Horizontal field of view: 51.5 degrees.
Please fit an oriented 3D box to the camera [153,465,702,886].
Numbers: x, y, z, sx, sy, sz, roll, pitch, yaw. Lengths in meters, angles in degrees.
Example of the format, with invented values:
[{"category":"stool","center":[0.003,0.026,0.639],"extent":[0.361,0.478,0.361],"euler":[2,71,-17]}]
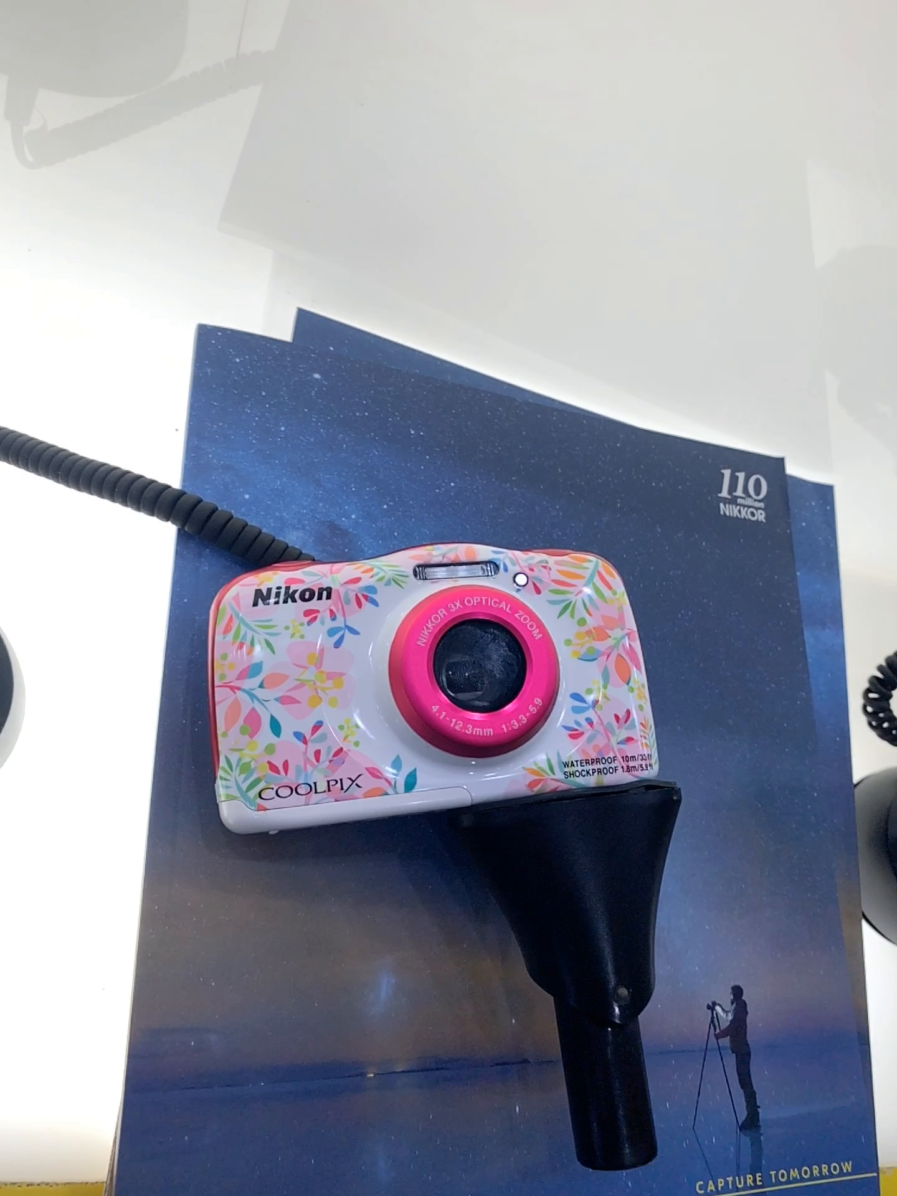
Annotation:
[{"category":"camera","center":[-0.007,0.015,0.221],"extent":[0.110,0.040,0.080],"euler":[-2,66,-25]}]
